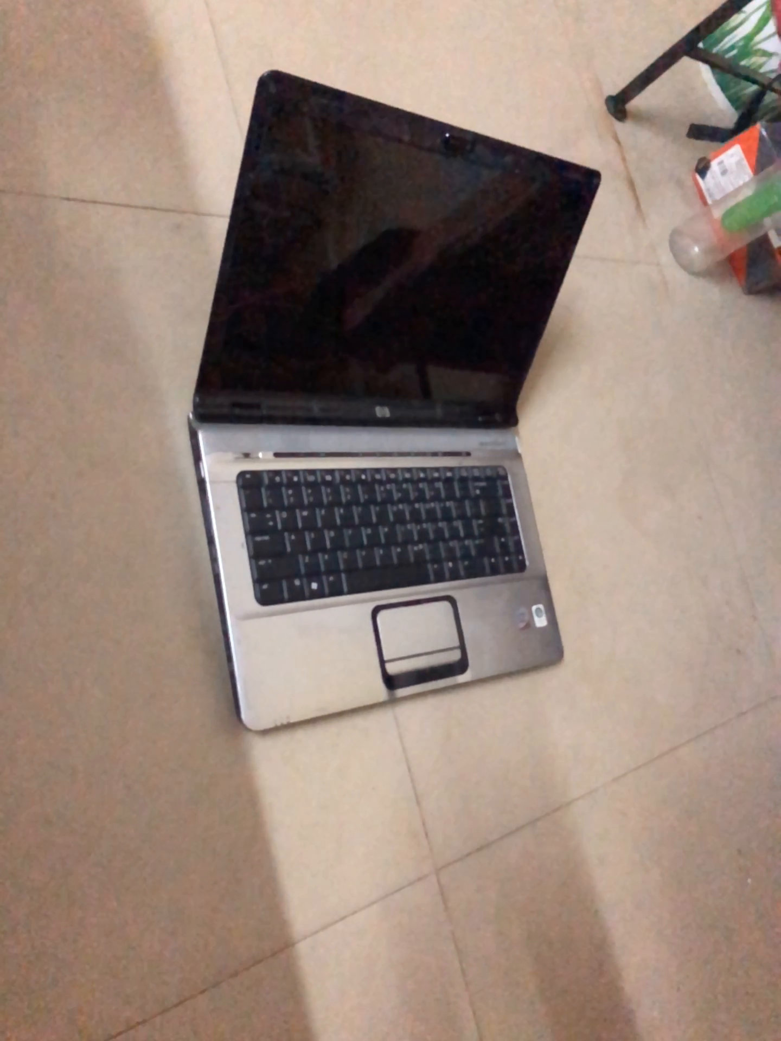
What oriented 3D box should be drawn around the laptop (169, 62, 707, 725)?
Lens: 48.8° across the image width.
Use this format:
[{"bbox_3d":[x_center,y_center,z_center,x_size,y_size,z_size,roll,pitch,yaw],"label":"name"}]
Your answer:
[{"bbox_3d":[0.041,-0.083,0.693,0.339,0.166,0.409,-3,79,-38],"label":"laptop"}]
